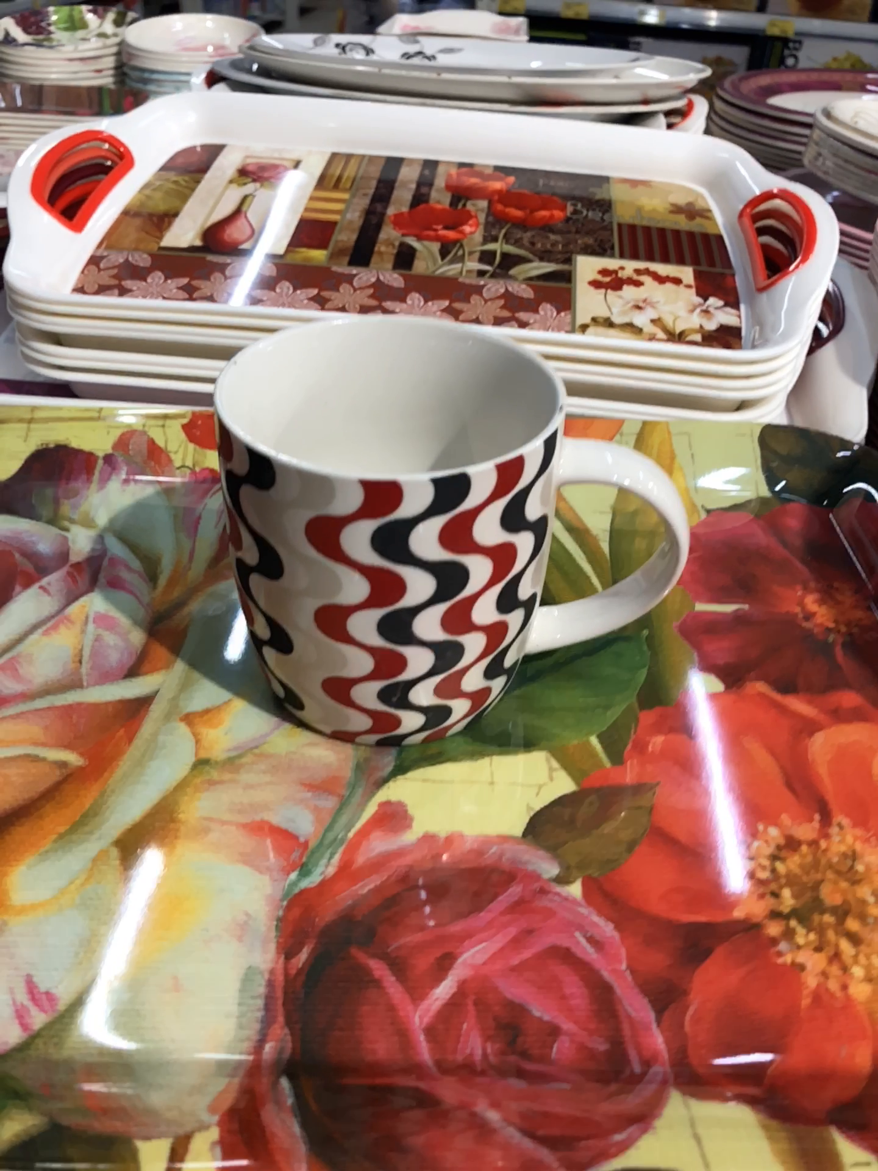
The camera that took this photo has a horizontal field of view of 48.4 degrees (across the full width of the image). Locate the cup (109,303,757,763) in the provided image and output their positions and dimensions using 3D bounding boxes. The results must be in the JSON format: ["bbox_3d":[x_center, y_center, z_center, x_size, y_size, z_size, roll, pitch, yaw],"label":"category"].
[{"bbox_3d":[-0.003,-0.016,0.255,0.130,0.079,0.091,2,35,-3],"label":"cup"}]
